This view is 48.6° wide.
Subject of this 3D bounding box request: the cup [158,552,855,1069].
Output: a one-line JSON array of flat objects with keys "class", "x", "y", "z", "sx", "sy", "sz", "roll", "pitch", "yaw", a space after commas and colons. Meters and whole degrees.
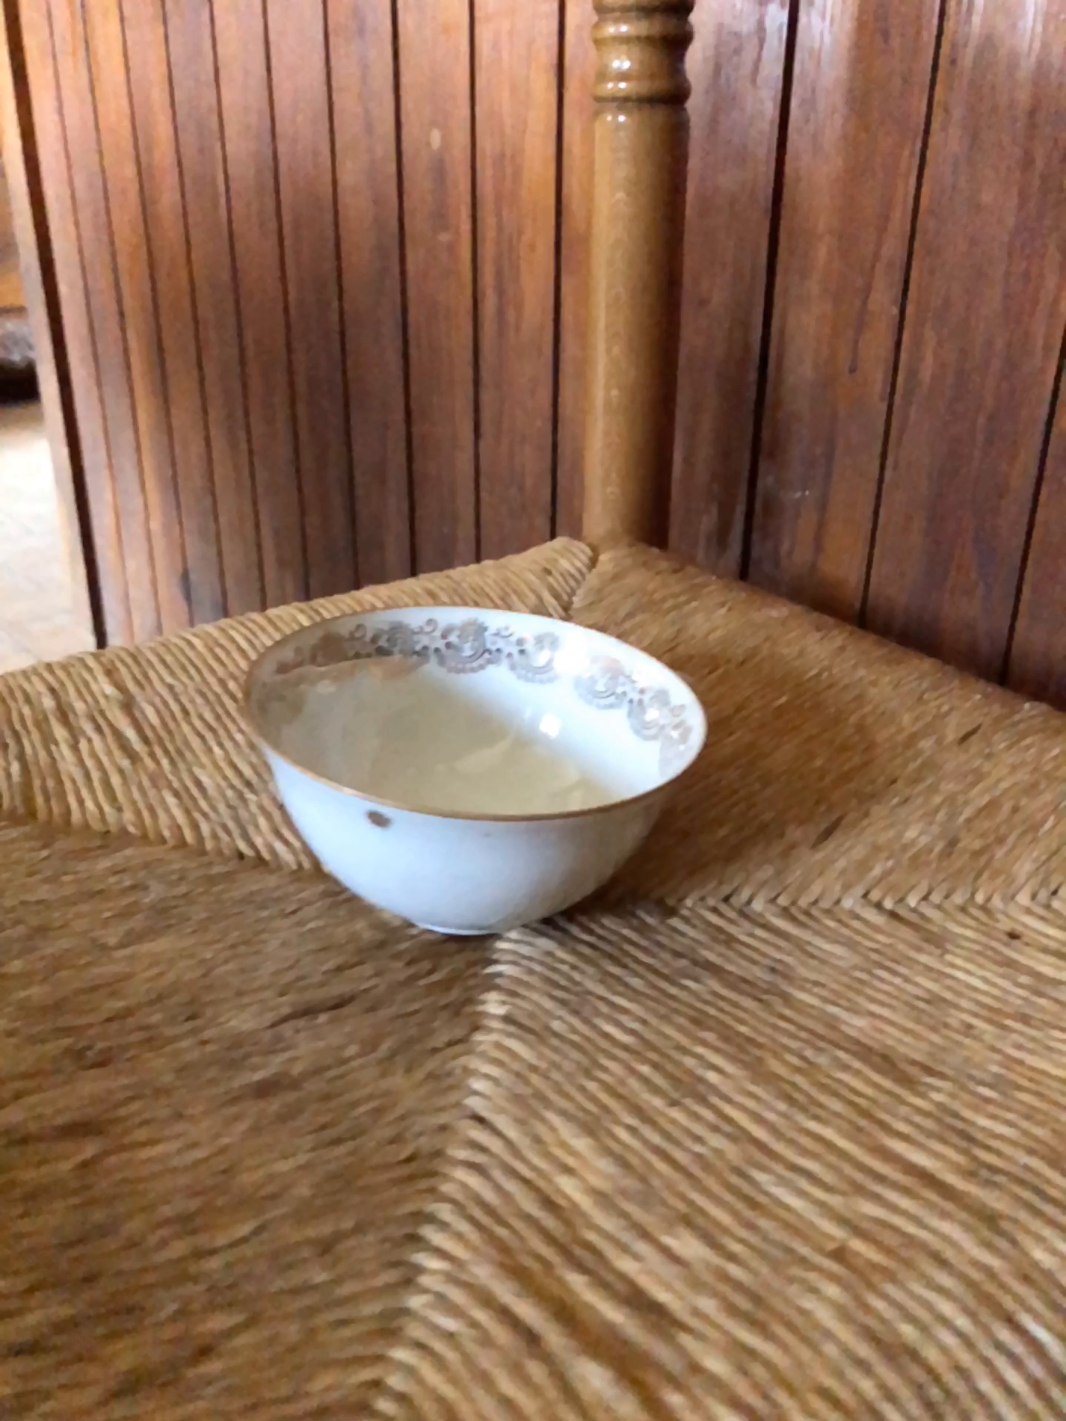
[{"class": "cup", "x": -0.008, "y": 0.011, "z": 0.299, "sx": 0.131, "sy": 0.050, "sz": 0.110, "roll": -19, "pitch": 33, "yaw": -34}]
